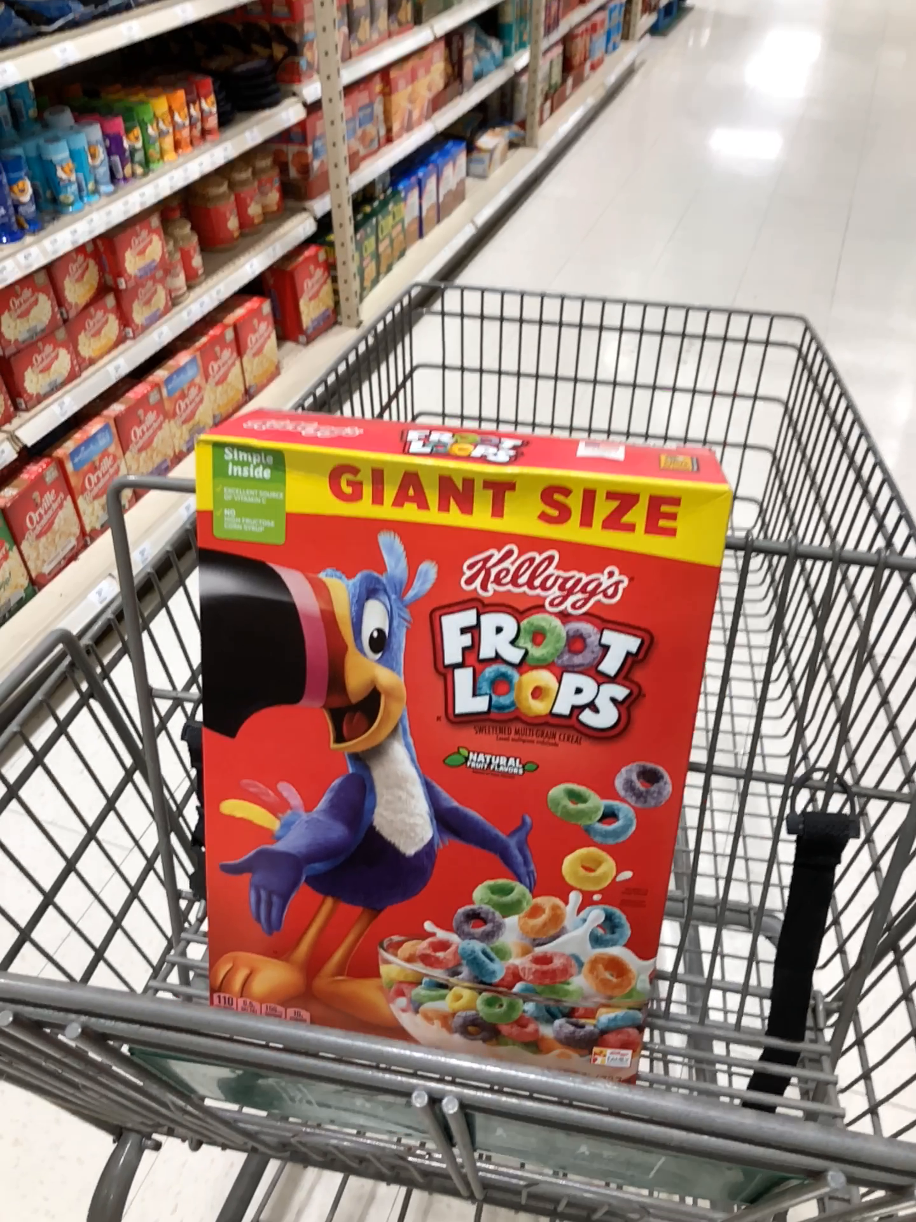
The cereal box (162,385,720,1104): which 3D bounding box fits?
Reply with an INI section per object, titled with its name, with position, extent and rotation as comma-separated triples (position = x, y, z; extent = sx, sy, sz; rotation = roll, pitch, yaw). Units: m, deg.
[cereal box]
position = -0.019, 0.077, 0.568
extent = 0.260, 0.369, 0.090
rotation = 7, 20, 6
